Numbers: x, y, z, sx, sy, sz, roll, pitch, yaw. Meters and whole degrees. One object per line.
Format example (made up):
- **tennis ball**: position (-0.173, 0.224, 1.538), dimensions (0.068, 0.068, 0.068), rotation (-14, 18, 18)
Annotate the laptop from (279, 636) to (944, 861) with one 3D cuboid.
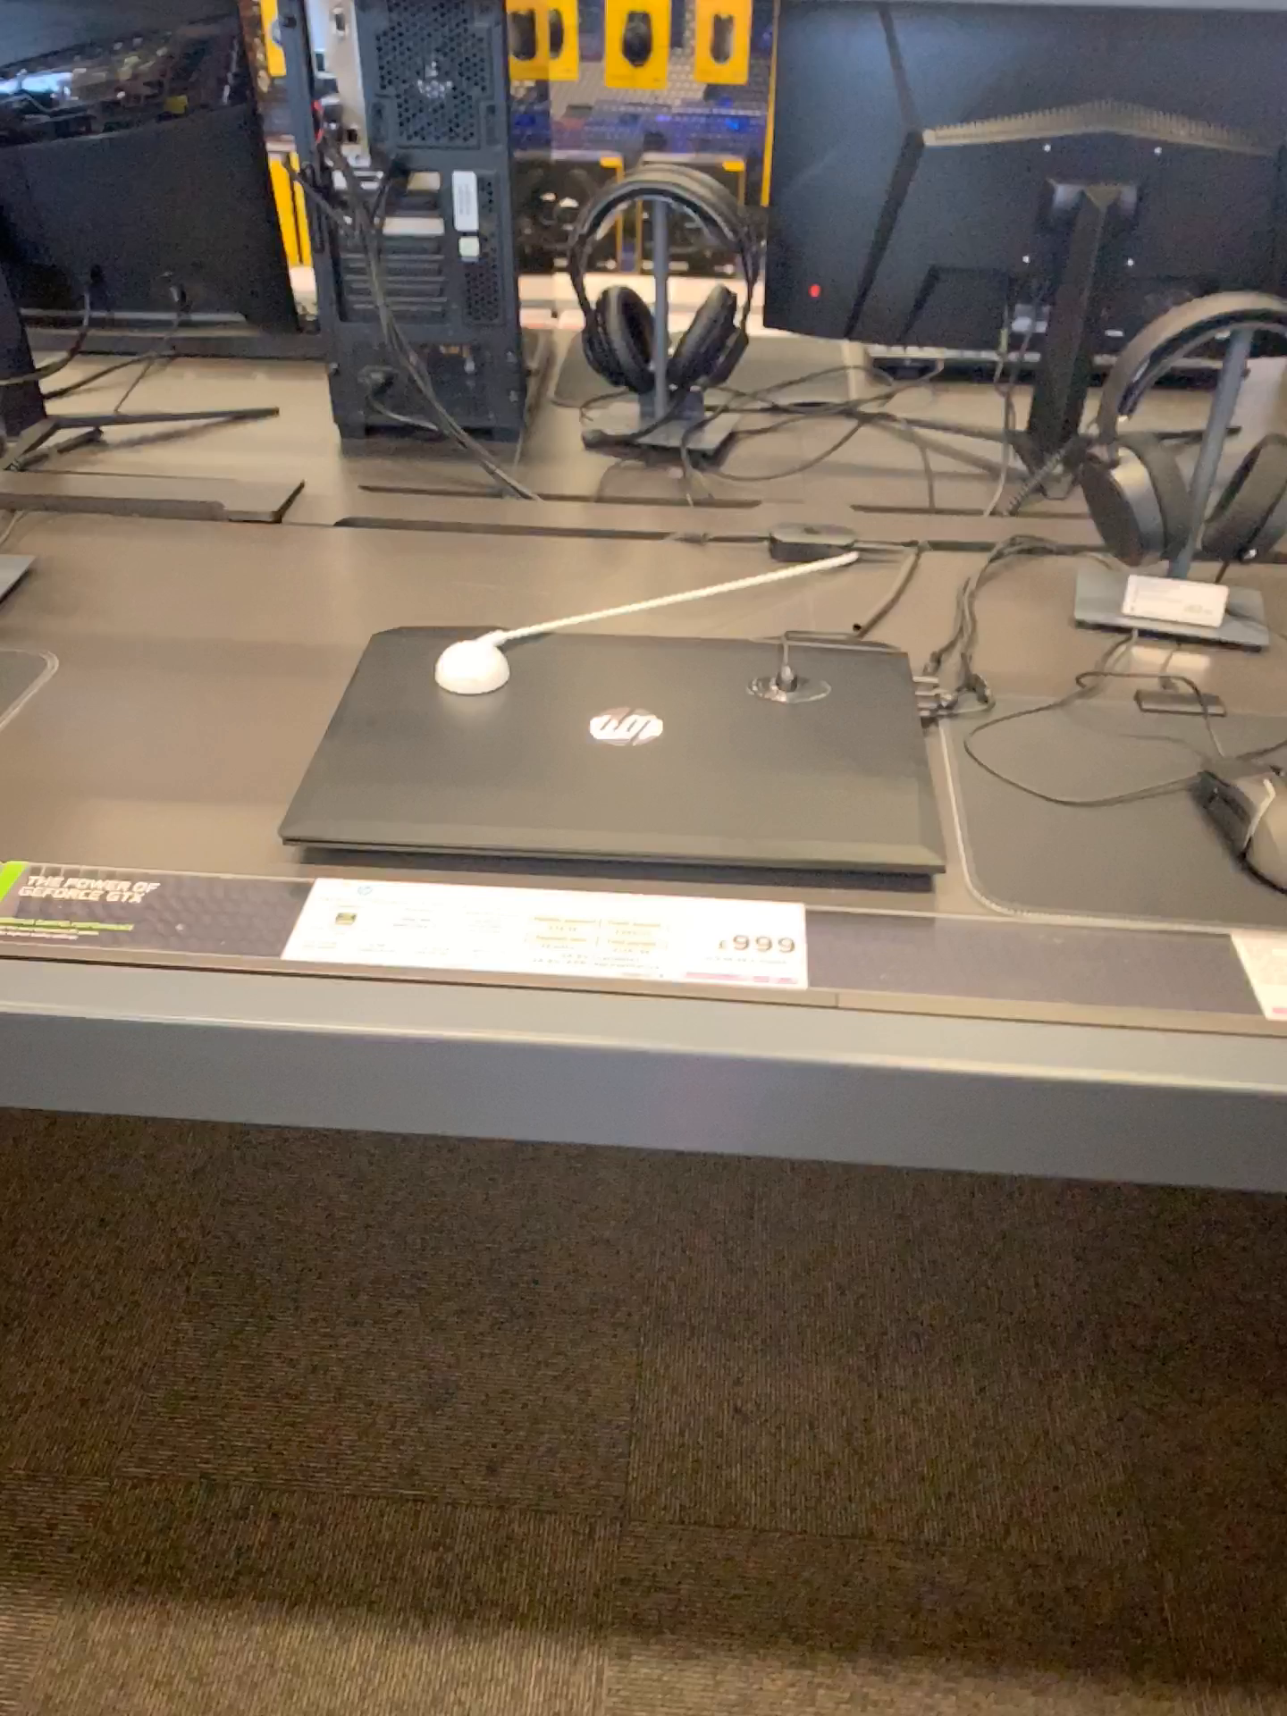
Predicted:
- **laptop**: position (-0.013, -0.083, 0.883), dimensions (0.394, 0.001, 0.258), rotation (2, 37, 3)
